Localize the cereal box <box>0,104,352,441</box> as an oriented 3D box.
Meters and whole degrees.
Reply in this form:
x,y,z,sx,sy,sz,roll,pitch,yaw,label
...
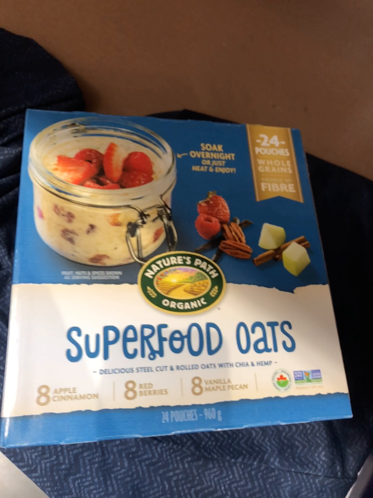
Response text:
x,y,z,sx,sy,sz,roll,pitch,yaw,label
-0.028,0.027,0.382,0.250,0.150,0.240,1,69,-14,cereal box
